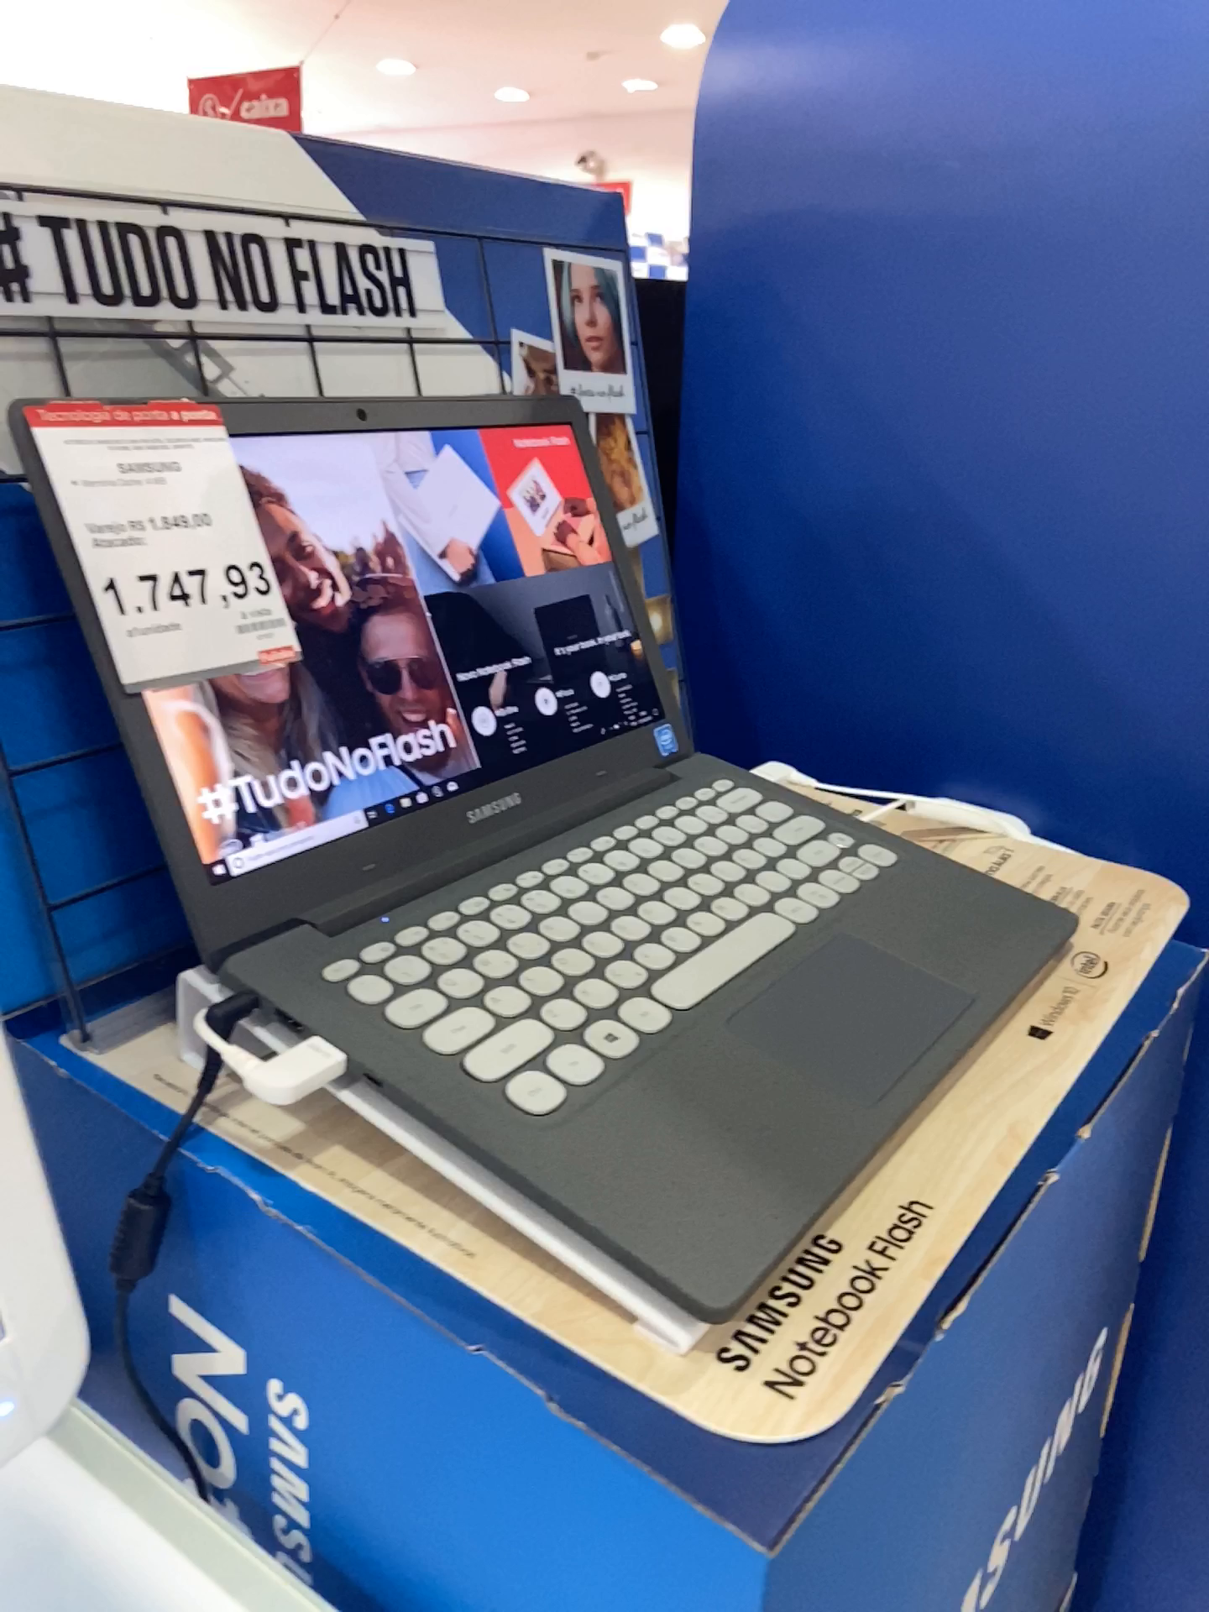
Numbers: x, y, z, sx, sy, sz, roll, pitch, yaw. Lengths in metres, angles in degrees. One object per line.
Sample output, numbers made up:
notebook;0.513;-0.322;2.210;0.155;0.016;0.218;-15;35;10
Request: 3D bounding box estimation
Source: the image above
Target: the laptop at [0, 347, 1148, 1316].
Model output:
laptop;-0.005;-0.055;0.515;0.344;0.181;0.323;24;29;31
